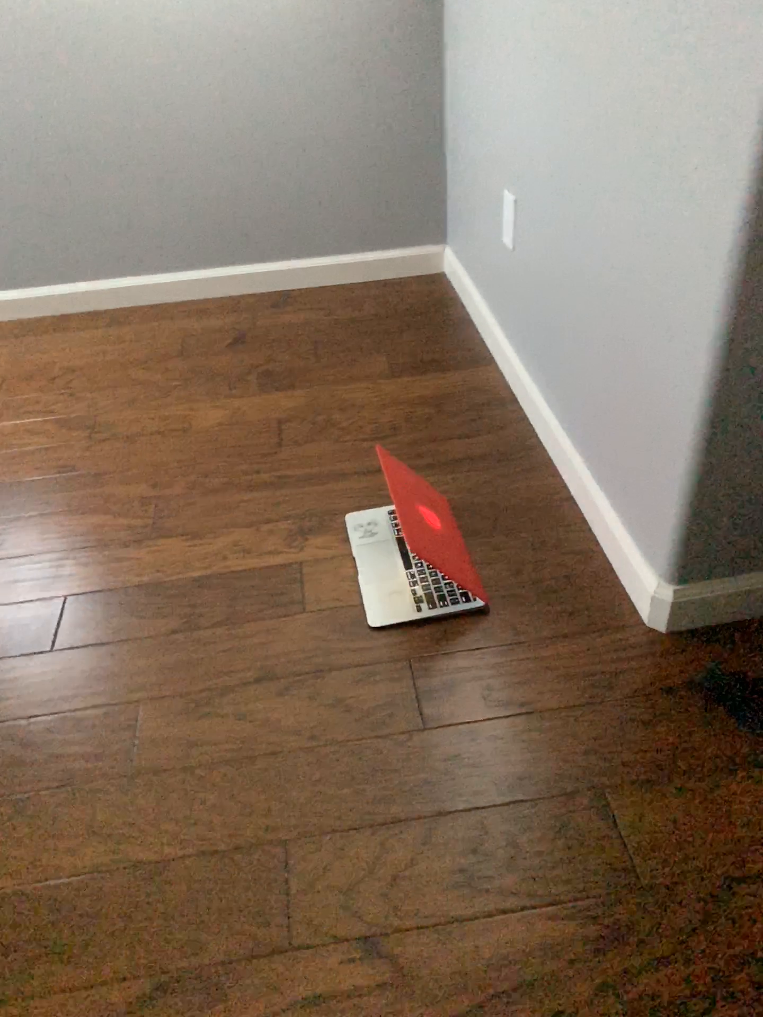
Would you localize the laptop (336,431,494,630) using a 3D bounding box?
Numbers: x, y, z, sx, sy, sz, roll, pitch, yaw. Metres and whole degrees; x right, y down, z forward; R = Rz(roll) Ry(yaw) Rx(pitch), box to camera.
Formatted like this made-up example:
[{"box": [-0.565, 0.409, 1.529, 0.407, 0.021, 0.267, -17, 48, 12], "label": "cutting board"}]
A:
[{"box": [0.047, 0.026, 1.294, 0.197, 0.139, 0.303, -9, 38, -5], "label": "laptop"}]
